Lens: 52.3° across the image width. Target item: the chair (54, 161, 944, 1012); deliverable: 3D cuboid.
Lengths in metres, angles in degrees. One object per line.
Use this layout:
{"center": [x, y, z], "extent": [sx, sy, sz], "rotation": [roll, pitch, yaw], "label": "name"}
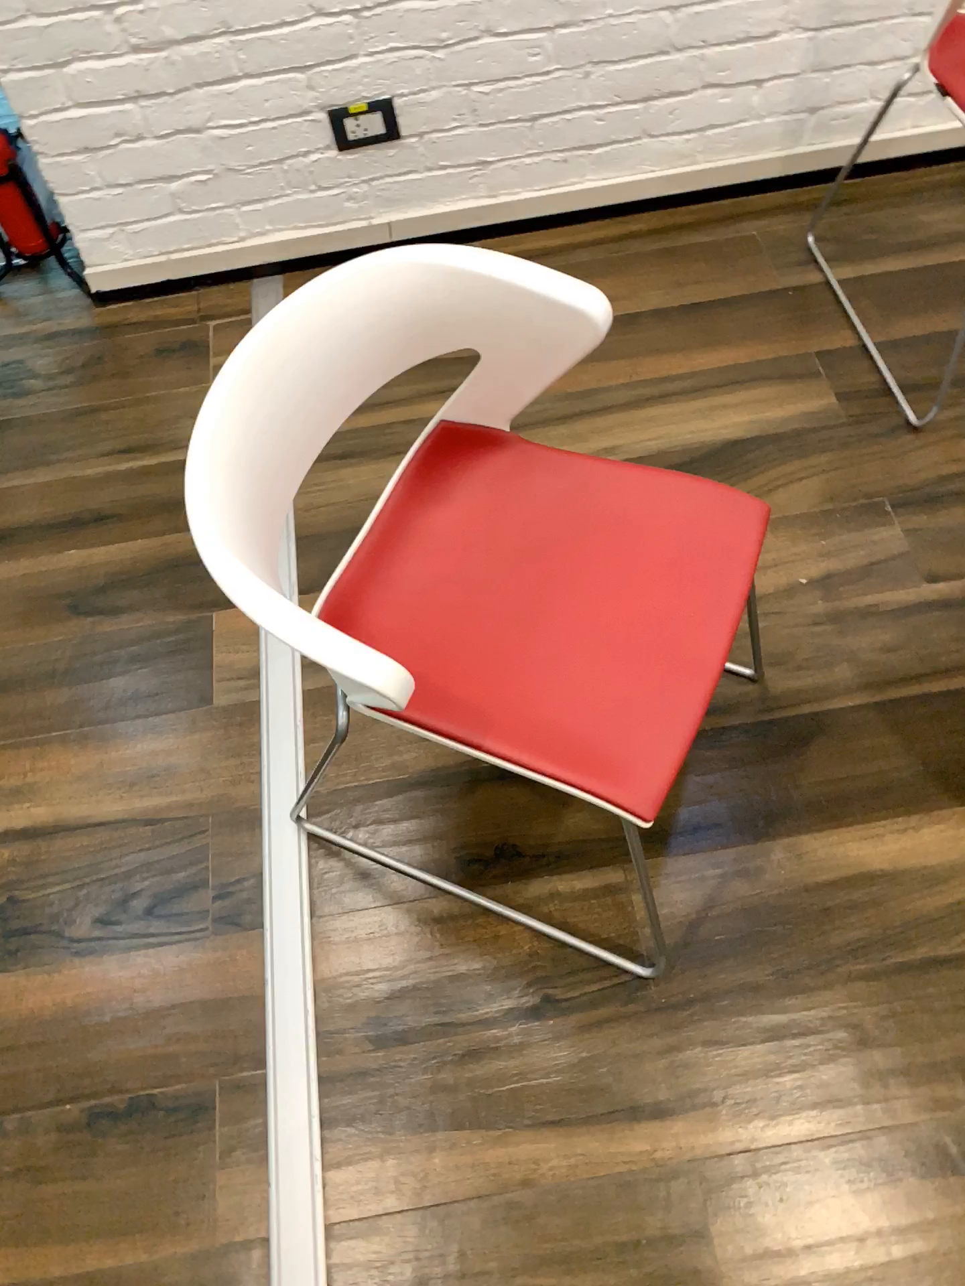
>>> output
{"center": [0.060, -0.043, 1.195], "extent": [0.641, 0.676, 0.593], "rotation": [19, 61, 16], "label": "chair"}
